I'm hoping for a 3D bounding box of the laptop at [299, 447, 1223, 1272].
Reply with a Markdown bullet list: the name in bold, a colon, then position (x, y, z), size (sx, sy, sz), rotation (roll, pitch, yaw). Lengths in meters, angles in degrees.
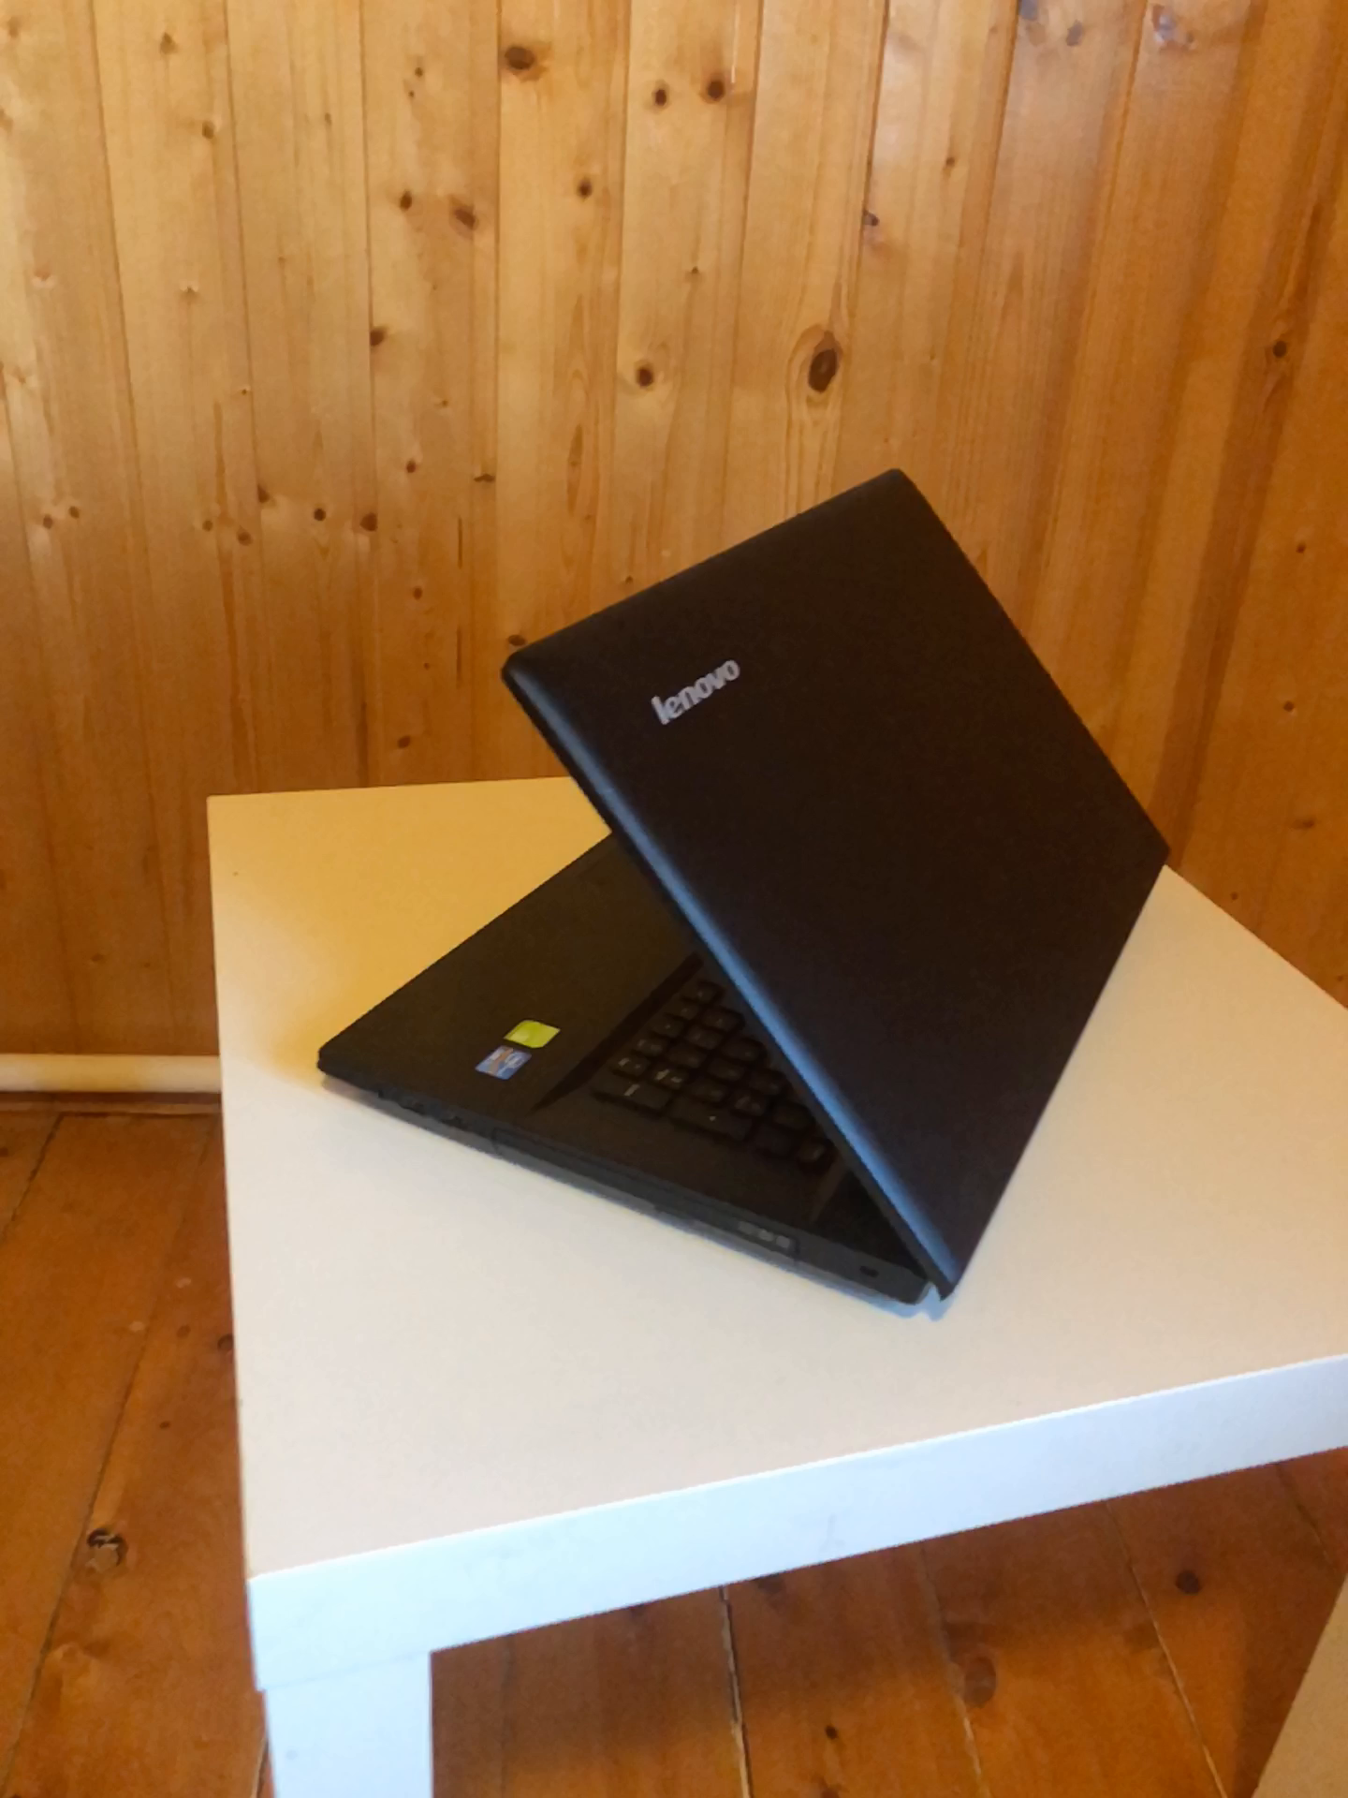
- **laptop**: position (0.064, -0.064, 0.677), size (0.260, 0.179, 0.391), rotation (16, 31, 22)
